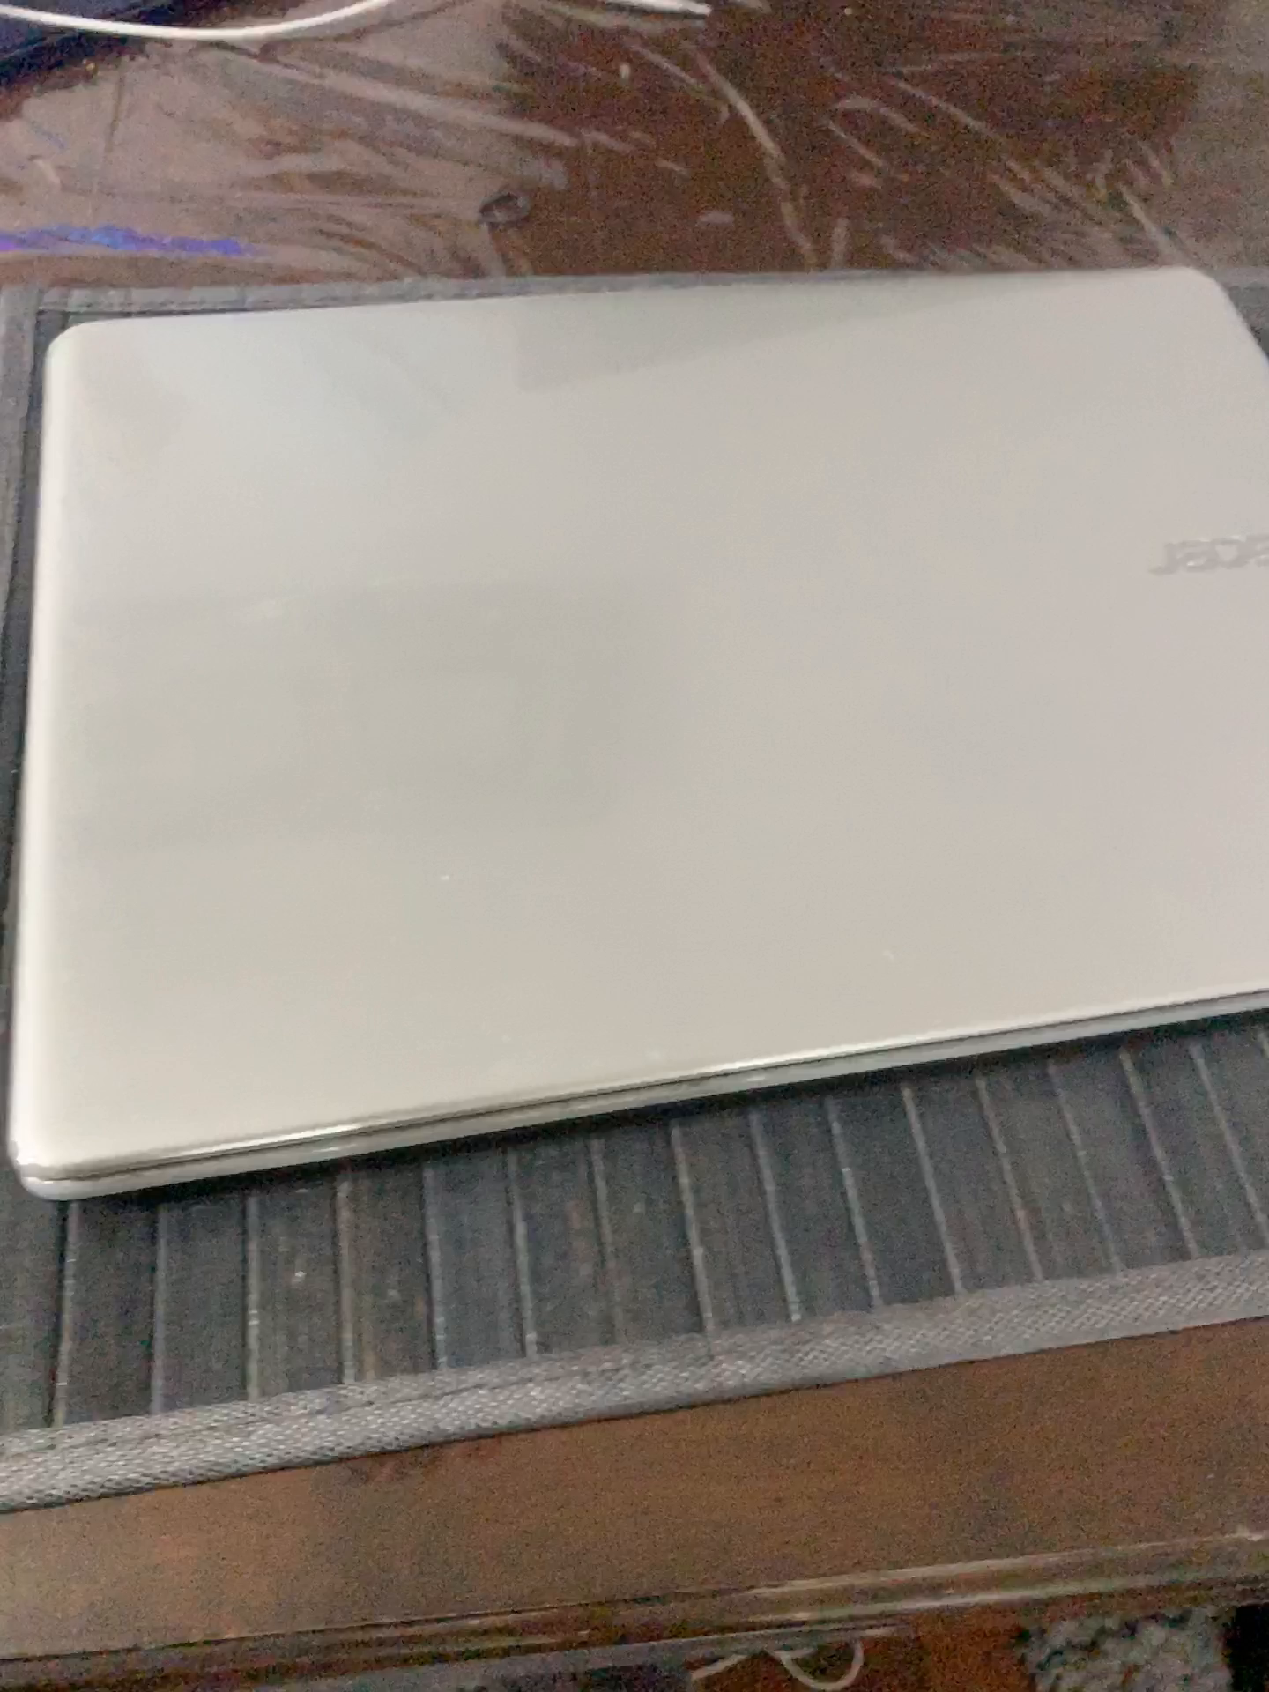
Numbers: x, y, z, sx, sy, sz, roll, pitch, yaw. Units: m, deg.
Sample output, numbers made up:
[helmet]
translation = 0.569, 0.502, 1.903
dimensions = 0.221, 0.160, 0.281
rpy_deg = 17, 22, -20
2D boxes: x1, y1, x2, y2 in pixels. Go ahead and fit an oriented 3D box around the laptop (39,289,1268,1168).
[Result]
[laptop]
translation = 0.036, -0.057, 0.321
dimensions = 0.335, 0.002, 0.224
rpy_deg = -7, 60, -11
